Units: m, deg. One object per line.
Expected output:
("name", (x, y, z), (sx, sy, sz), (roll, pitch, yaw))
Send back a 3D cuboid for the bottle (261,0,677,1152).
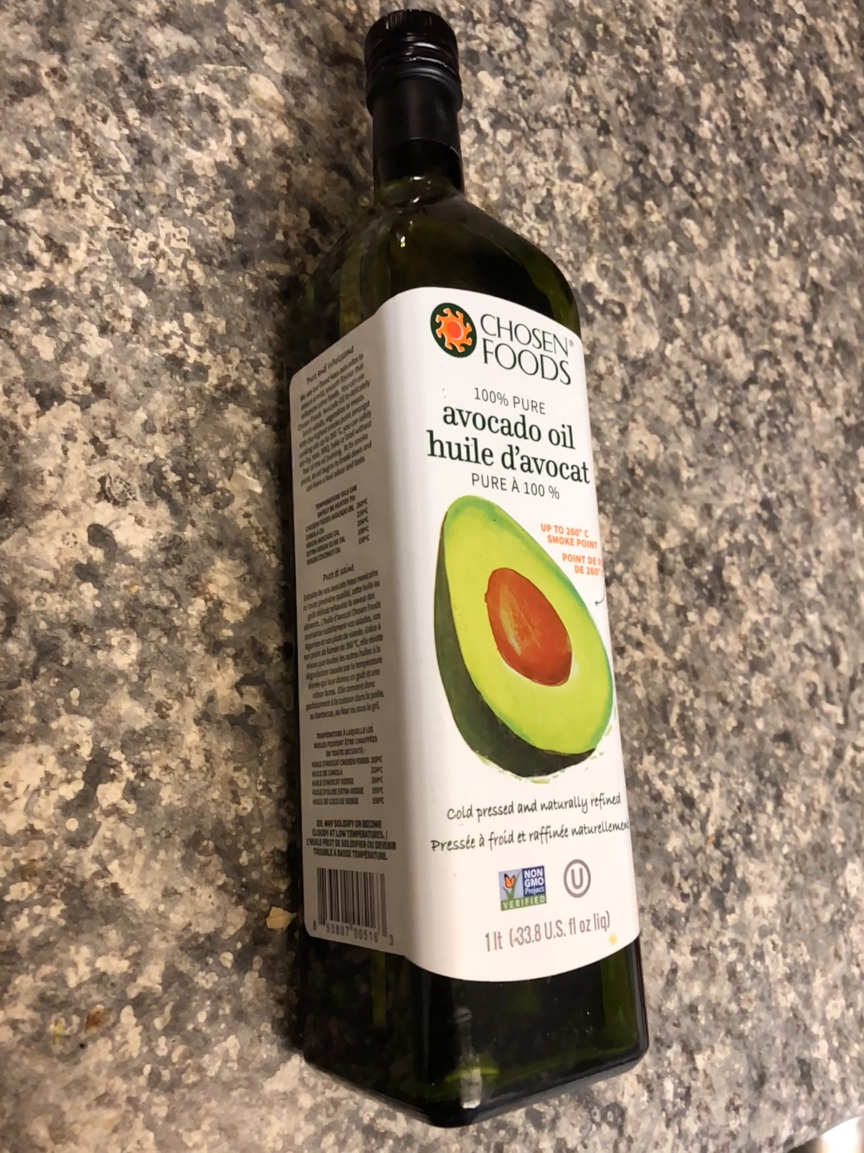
("bottle", (0.003, -0.026, 0.278), (0.080, 0.070, 0.320), (5, 78, -35))
